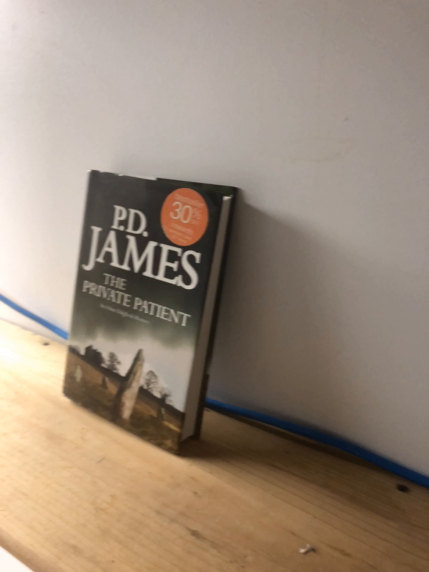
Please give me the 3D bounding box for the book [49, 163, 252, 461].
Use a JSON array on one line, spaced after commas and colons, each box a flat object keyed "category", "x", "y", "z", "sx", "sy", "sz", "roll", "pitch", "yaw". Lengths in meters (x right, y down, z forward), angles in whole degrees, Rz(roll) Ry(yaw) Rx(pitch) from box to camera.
[{"category": "book", "x": -0.071, "y": 0.012, "z": 0.444, "sx": 0.181, "sy": 0.229, "sz": 0.040, "roll": 16, "pitch": 10, "yaw": 36}]
